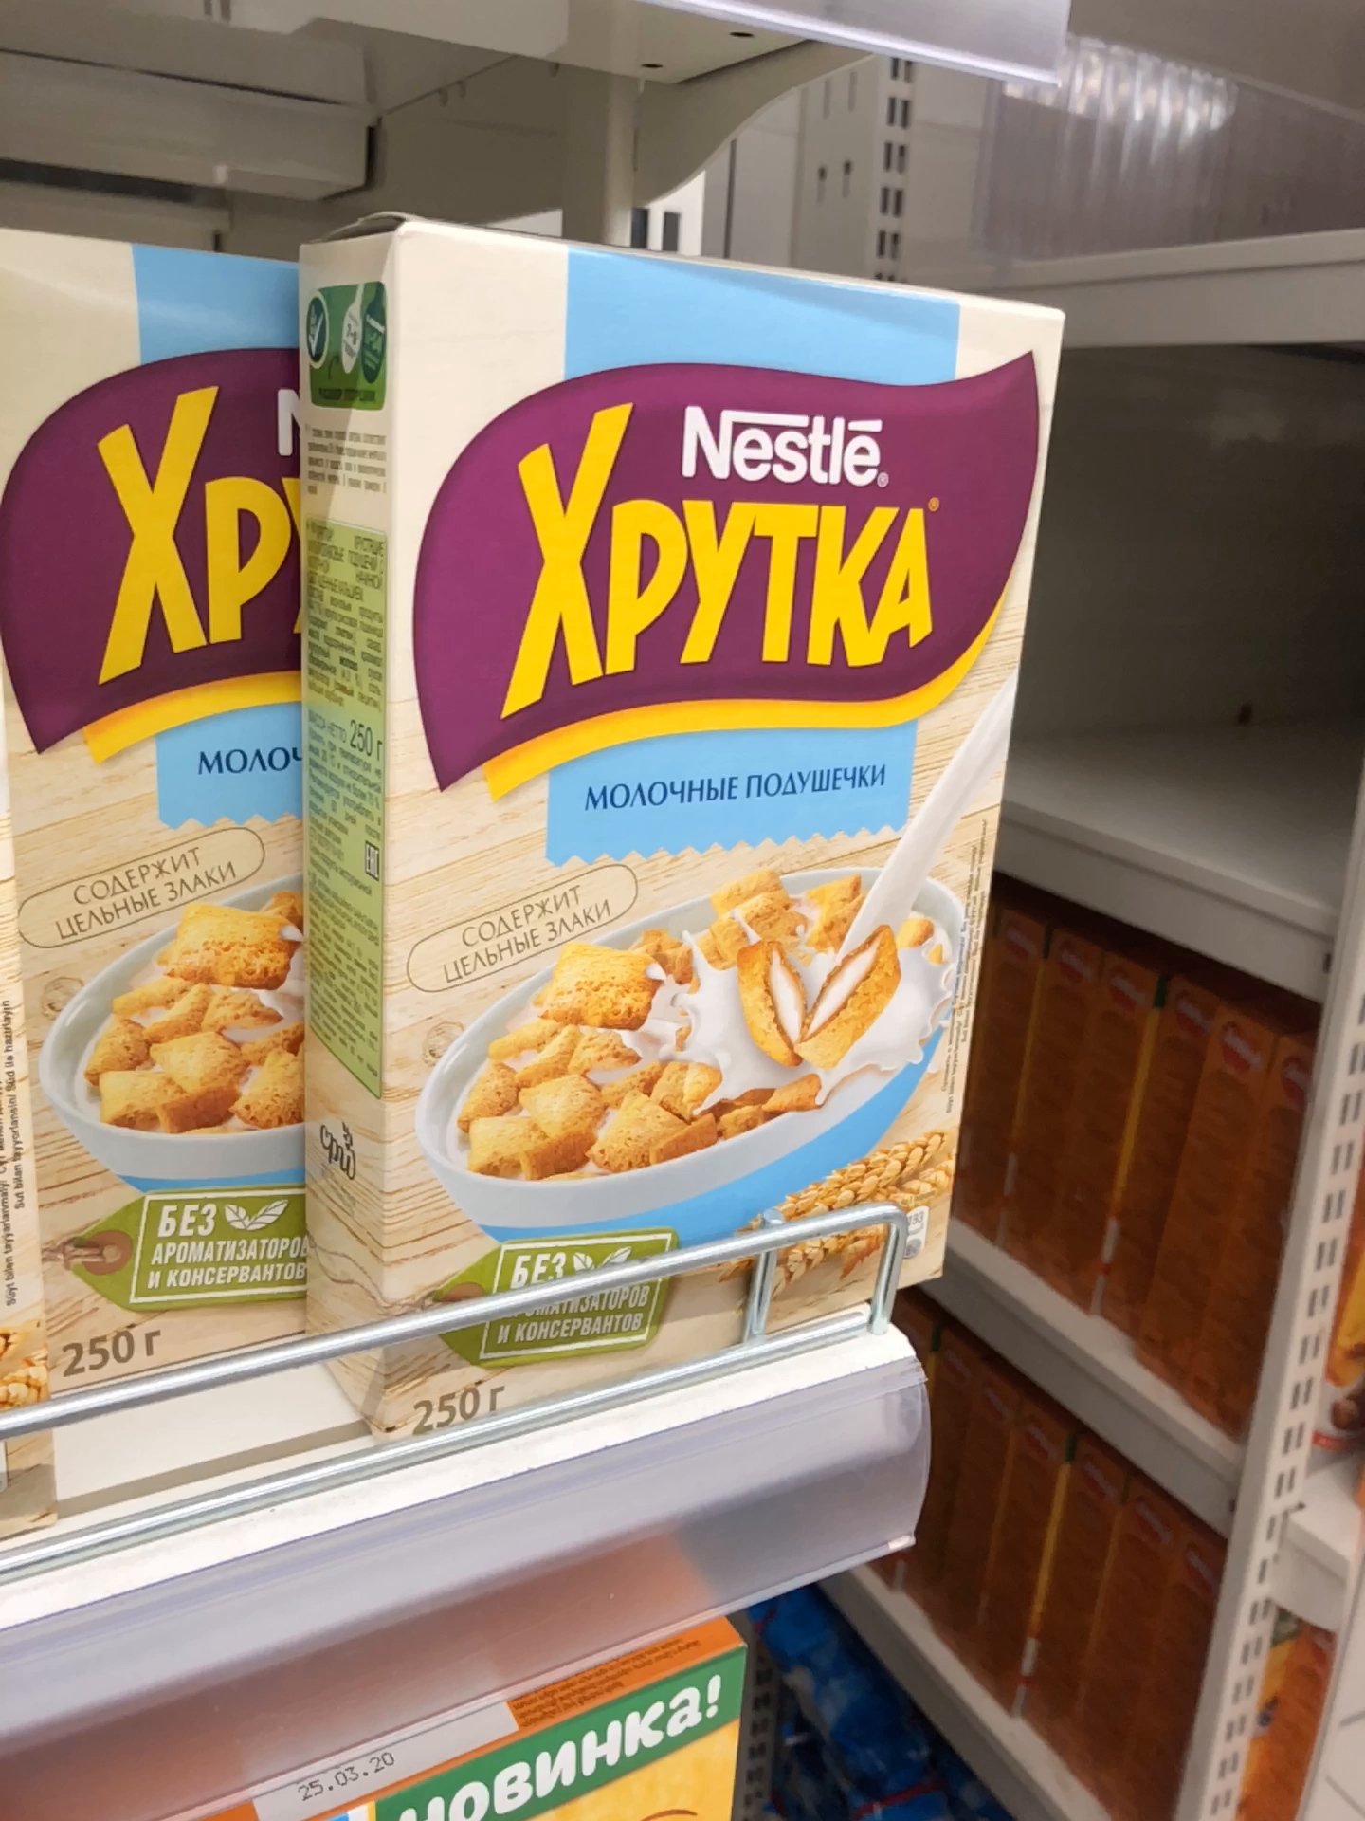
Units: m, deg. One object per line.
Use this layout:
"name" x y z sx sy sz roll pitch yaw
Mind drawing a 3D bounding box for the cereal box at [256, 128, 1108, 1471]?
"cereal box" -0.001 -0.020 0.303 0.150 0.219 0.050 -7 20 -33
